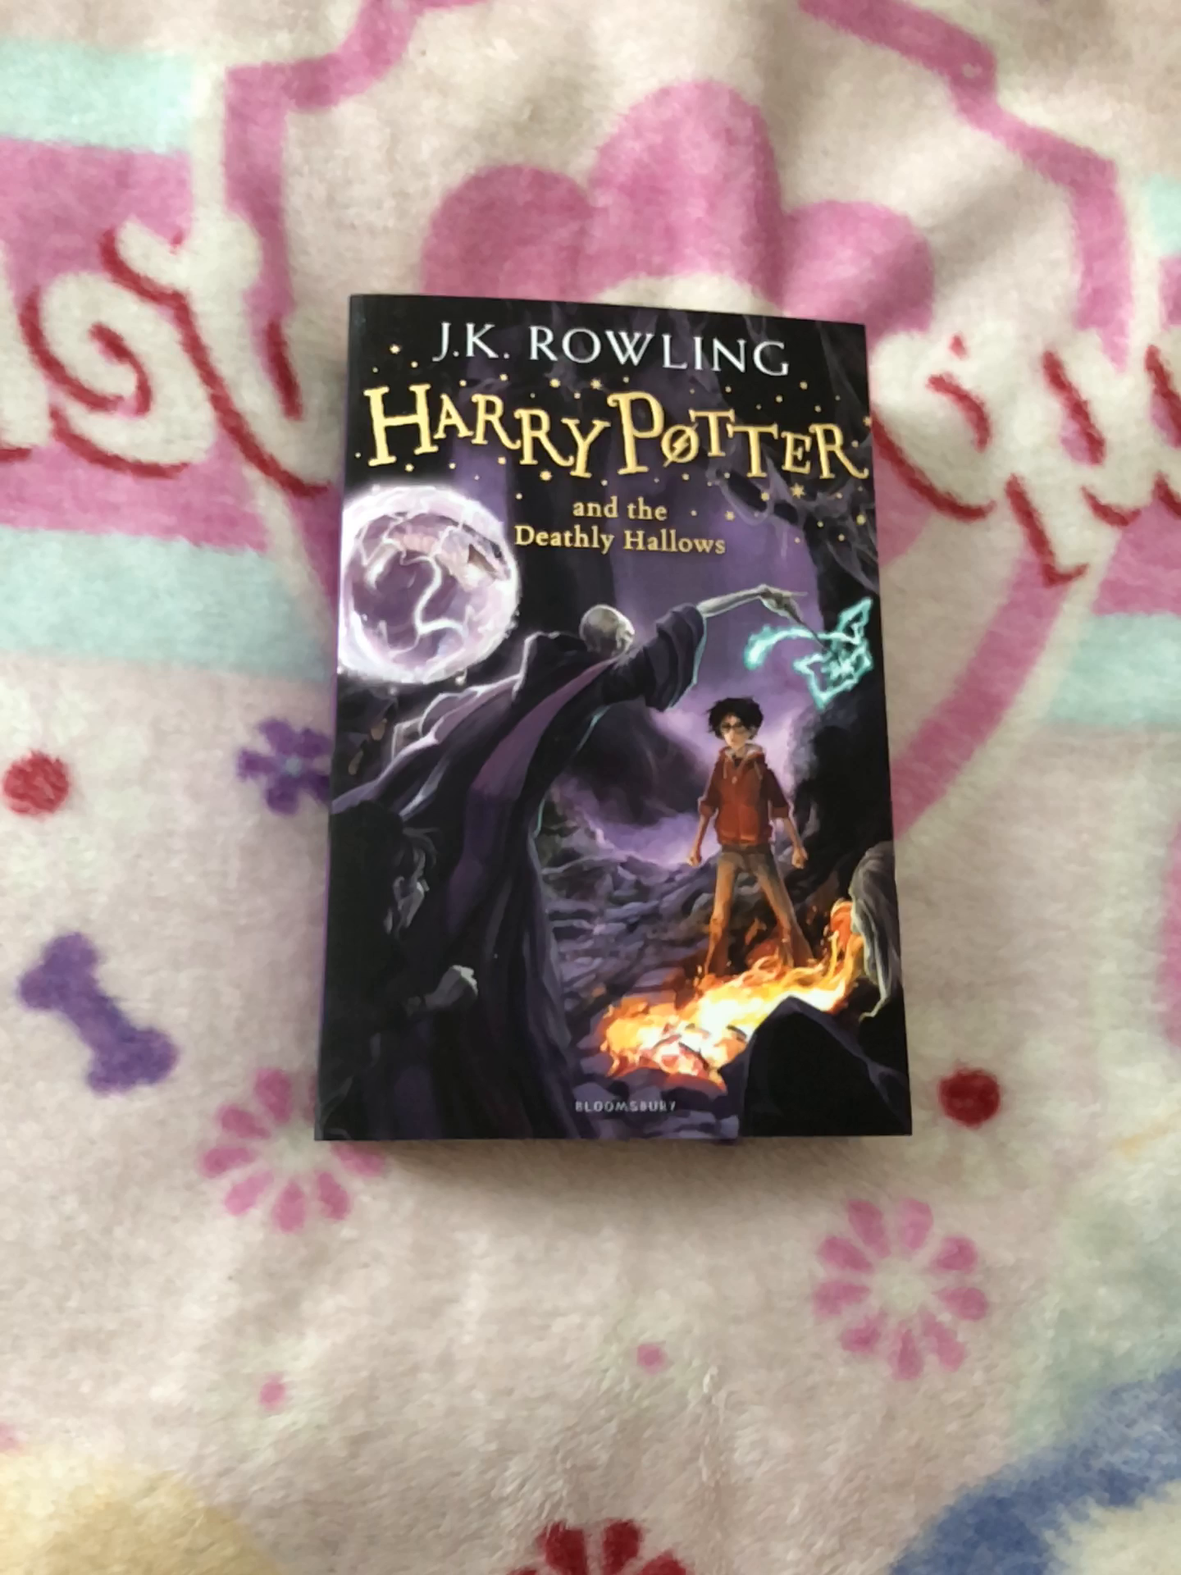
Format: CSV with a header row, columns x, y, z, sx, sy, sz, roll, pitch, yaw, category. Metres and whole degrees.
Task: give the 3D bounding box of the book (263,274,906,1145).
x,y,z,sx,sy,sz,roll,pitch,yaw,category
-0.003,-0.015,0.307,0.126,0.060,0.187,1,77,-5,book
